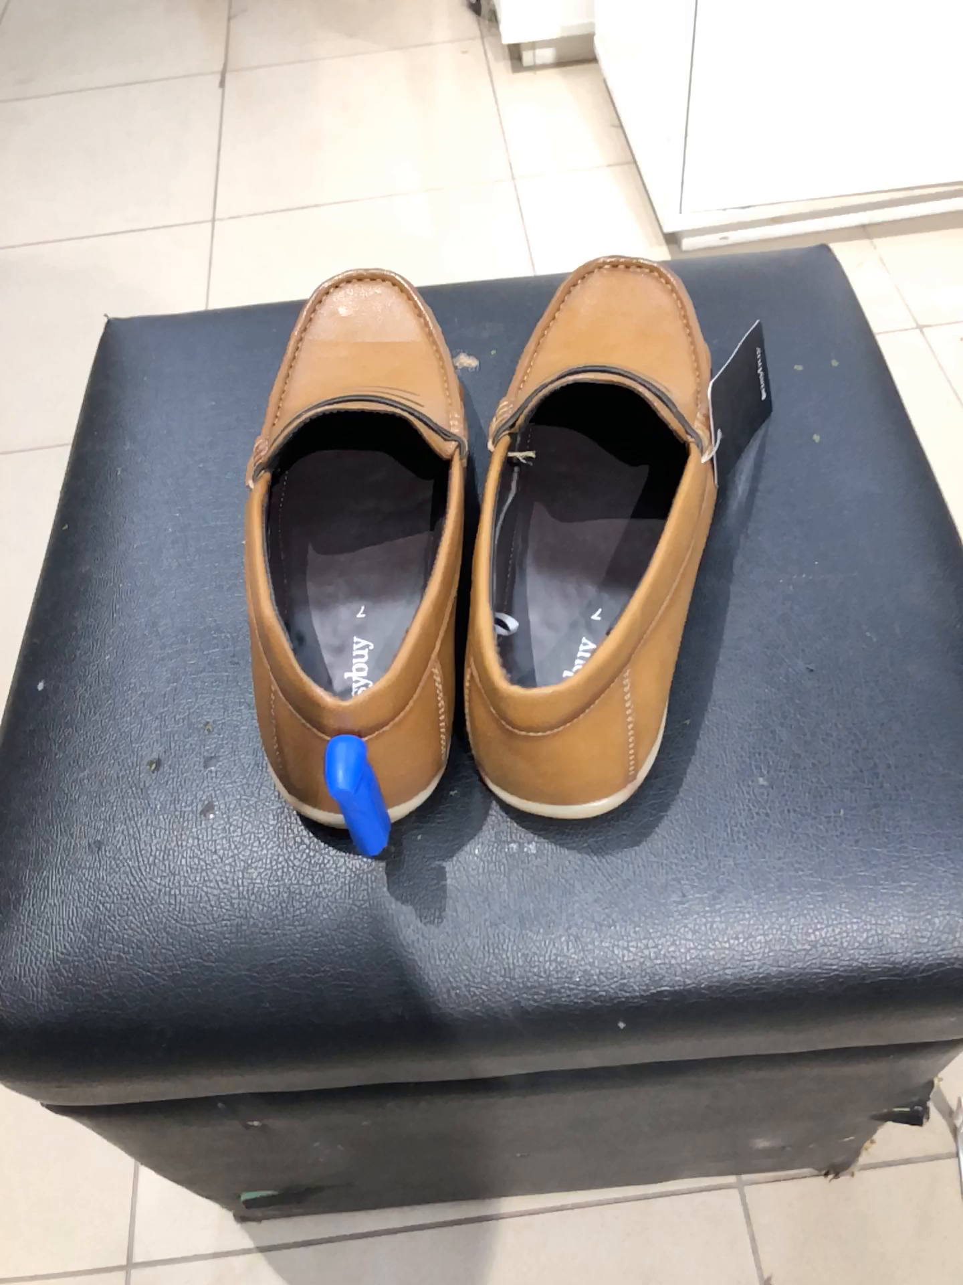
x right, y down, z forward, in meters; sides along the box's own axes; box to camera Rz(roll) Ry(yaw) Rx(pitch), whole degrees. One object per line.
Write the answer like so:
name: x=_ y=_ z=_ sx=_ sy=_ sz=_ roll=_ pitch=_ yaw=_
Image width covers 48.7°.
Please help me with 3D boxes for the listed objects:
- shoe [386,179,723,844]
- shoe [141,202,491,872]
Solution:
shoe: x=0.042 y=-0.068 z=0.426 sx=0.098 sy=0.088 sz=0.274 roll=4 pitch=54 yaw=8
shoe: x=-0.055 y=-0.057 z=0.431 sx=0.098 sy=0.088 sz=0.274 roll=-5 pitch=54 yaw=2
